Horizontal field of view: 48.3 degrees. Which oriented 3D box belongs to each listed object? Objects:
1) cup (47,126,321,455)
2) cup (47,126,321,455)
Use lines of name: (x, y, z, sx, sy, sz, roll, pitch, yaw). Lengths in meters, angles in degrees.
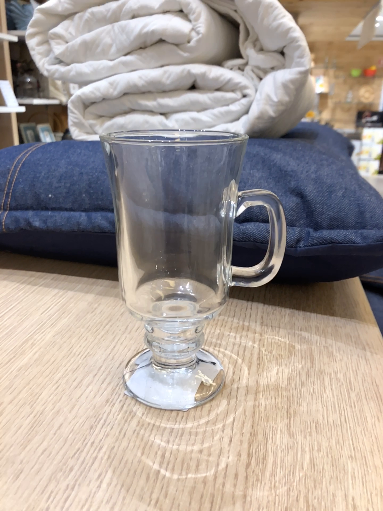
cup: (-0.001, 0.010, 0.236, 0.110, 0.149, 0.091, 4, 19, 6)
cup: (-0.001, 0.010, 0.236, 0.110, 0.149, 0.091, 4, 19, 6)
